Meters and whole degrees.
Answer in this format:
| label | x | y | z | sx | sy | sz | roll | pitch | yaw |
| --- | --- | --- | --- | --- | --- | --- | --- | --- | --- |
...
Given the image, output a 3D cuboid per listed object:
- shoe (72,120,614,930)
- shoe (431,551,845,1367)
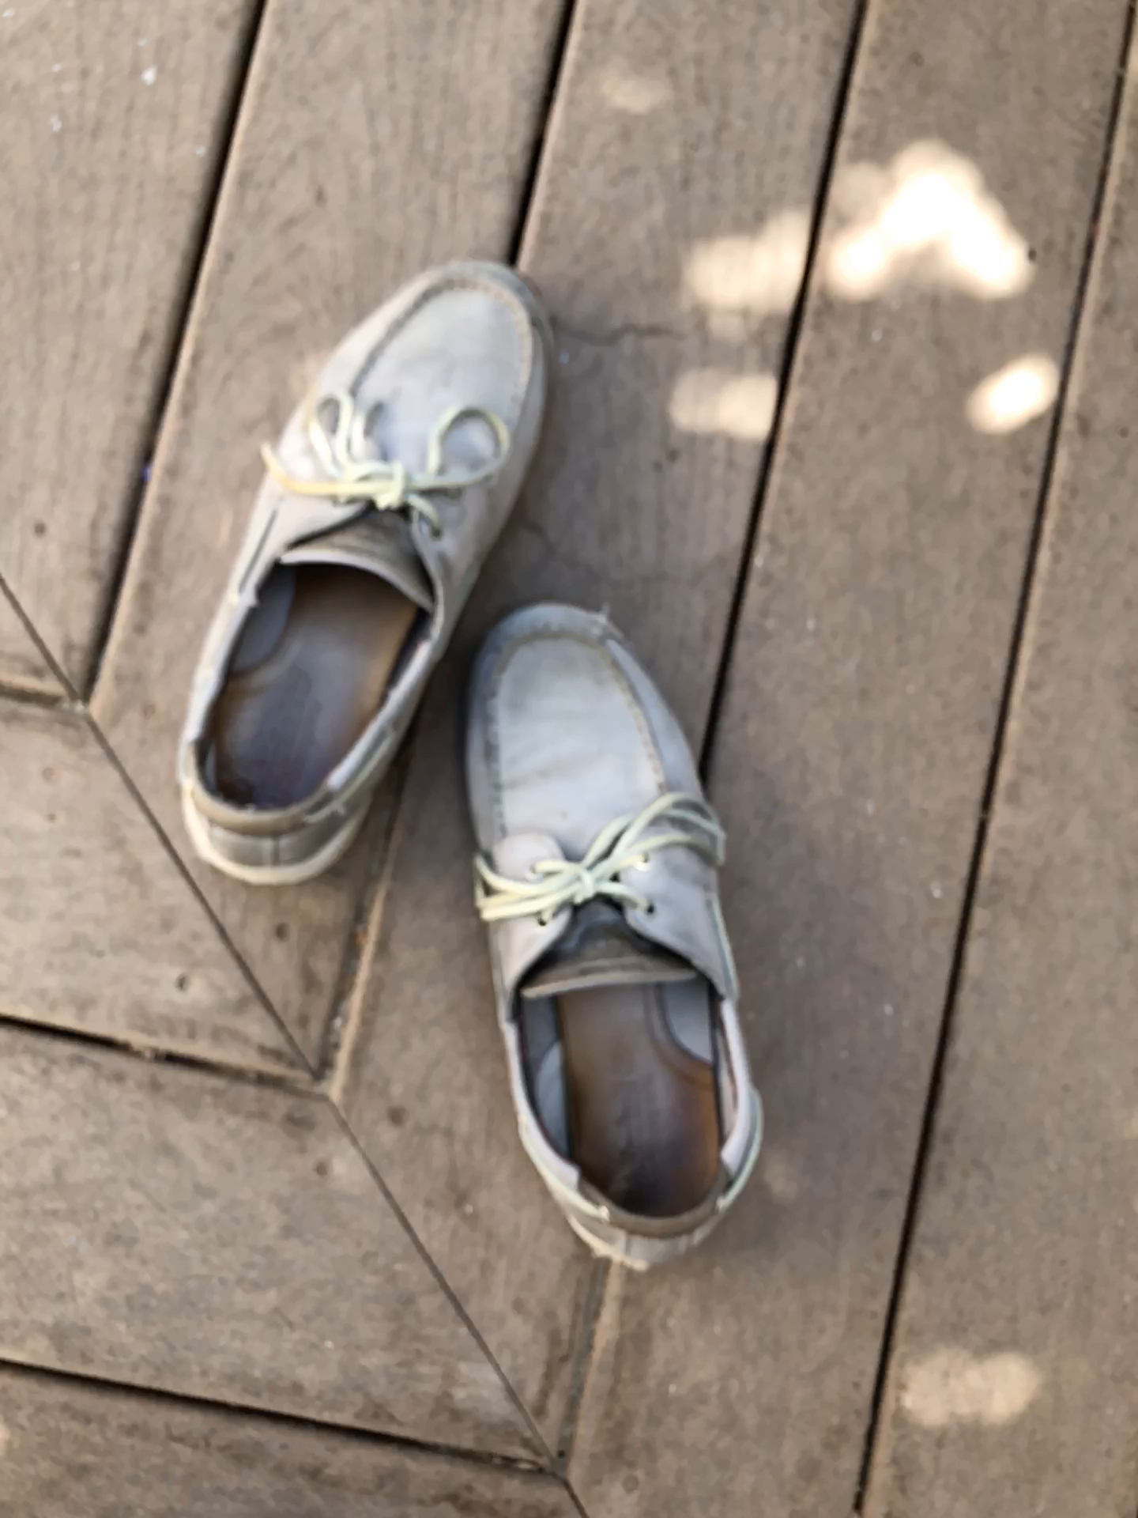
| label | x | y | z | sx | sy | sz | roll | pitch | yaw |
| --- | --- | --- | --- | --- | --- | --- | --- | --- | --- |
| shoe | -0.092 | -0.095 | 0.565 | 0.116 | 0.099 | 0.314 | 20 | 83 | -5 |
| shoe | 0.022 | 0.080 | 0.567 | 0.120 | 0.109 | 0.310 | -8 | 86 | -7 |
